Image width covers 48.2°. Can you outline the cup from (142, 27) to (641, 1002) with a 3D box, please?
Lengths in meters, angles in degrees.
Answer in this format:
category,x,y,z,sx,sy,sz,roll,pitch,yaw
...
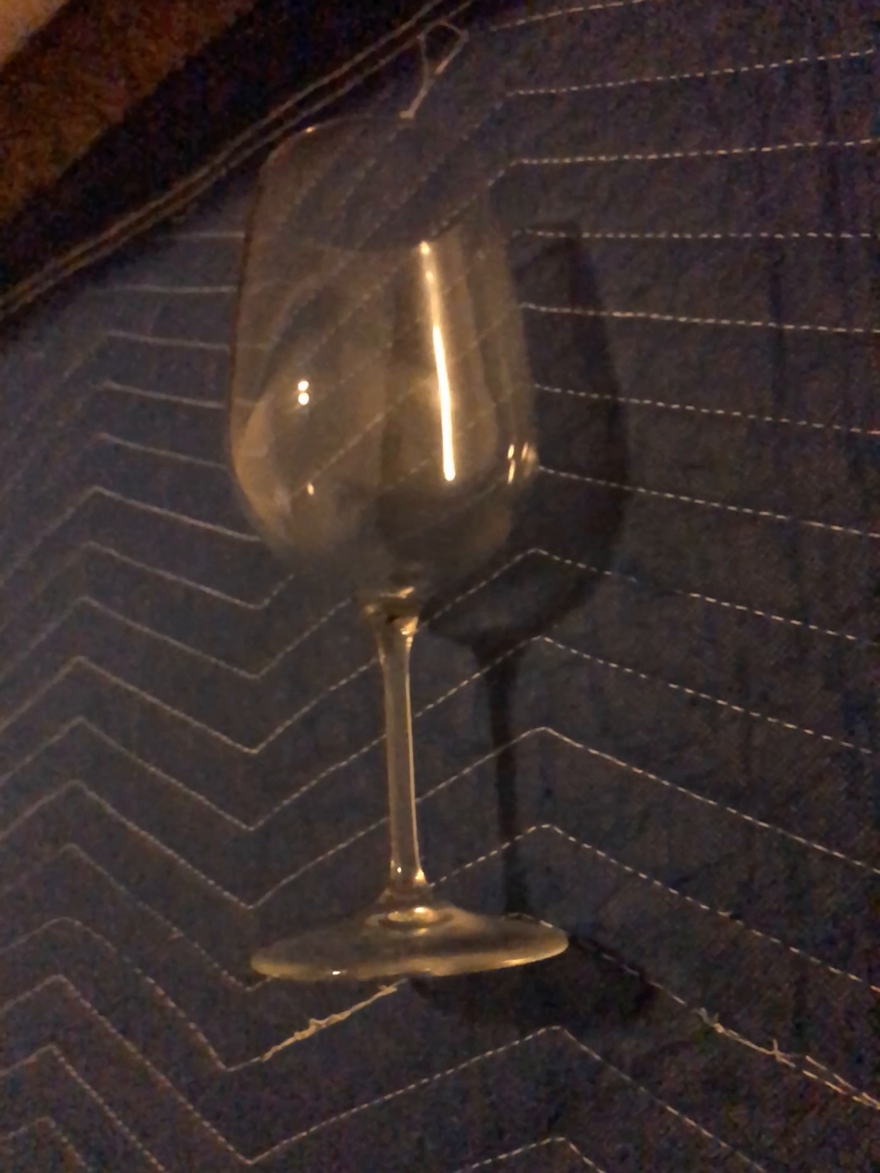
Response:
category,x,y,z,sx,sy,sz,roll,pitch,yaw
cup,-0.014,-0.013,0.261,0.080,0.090,0.210,-13,73,37
